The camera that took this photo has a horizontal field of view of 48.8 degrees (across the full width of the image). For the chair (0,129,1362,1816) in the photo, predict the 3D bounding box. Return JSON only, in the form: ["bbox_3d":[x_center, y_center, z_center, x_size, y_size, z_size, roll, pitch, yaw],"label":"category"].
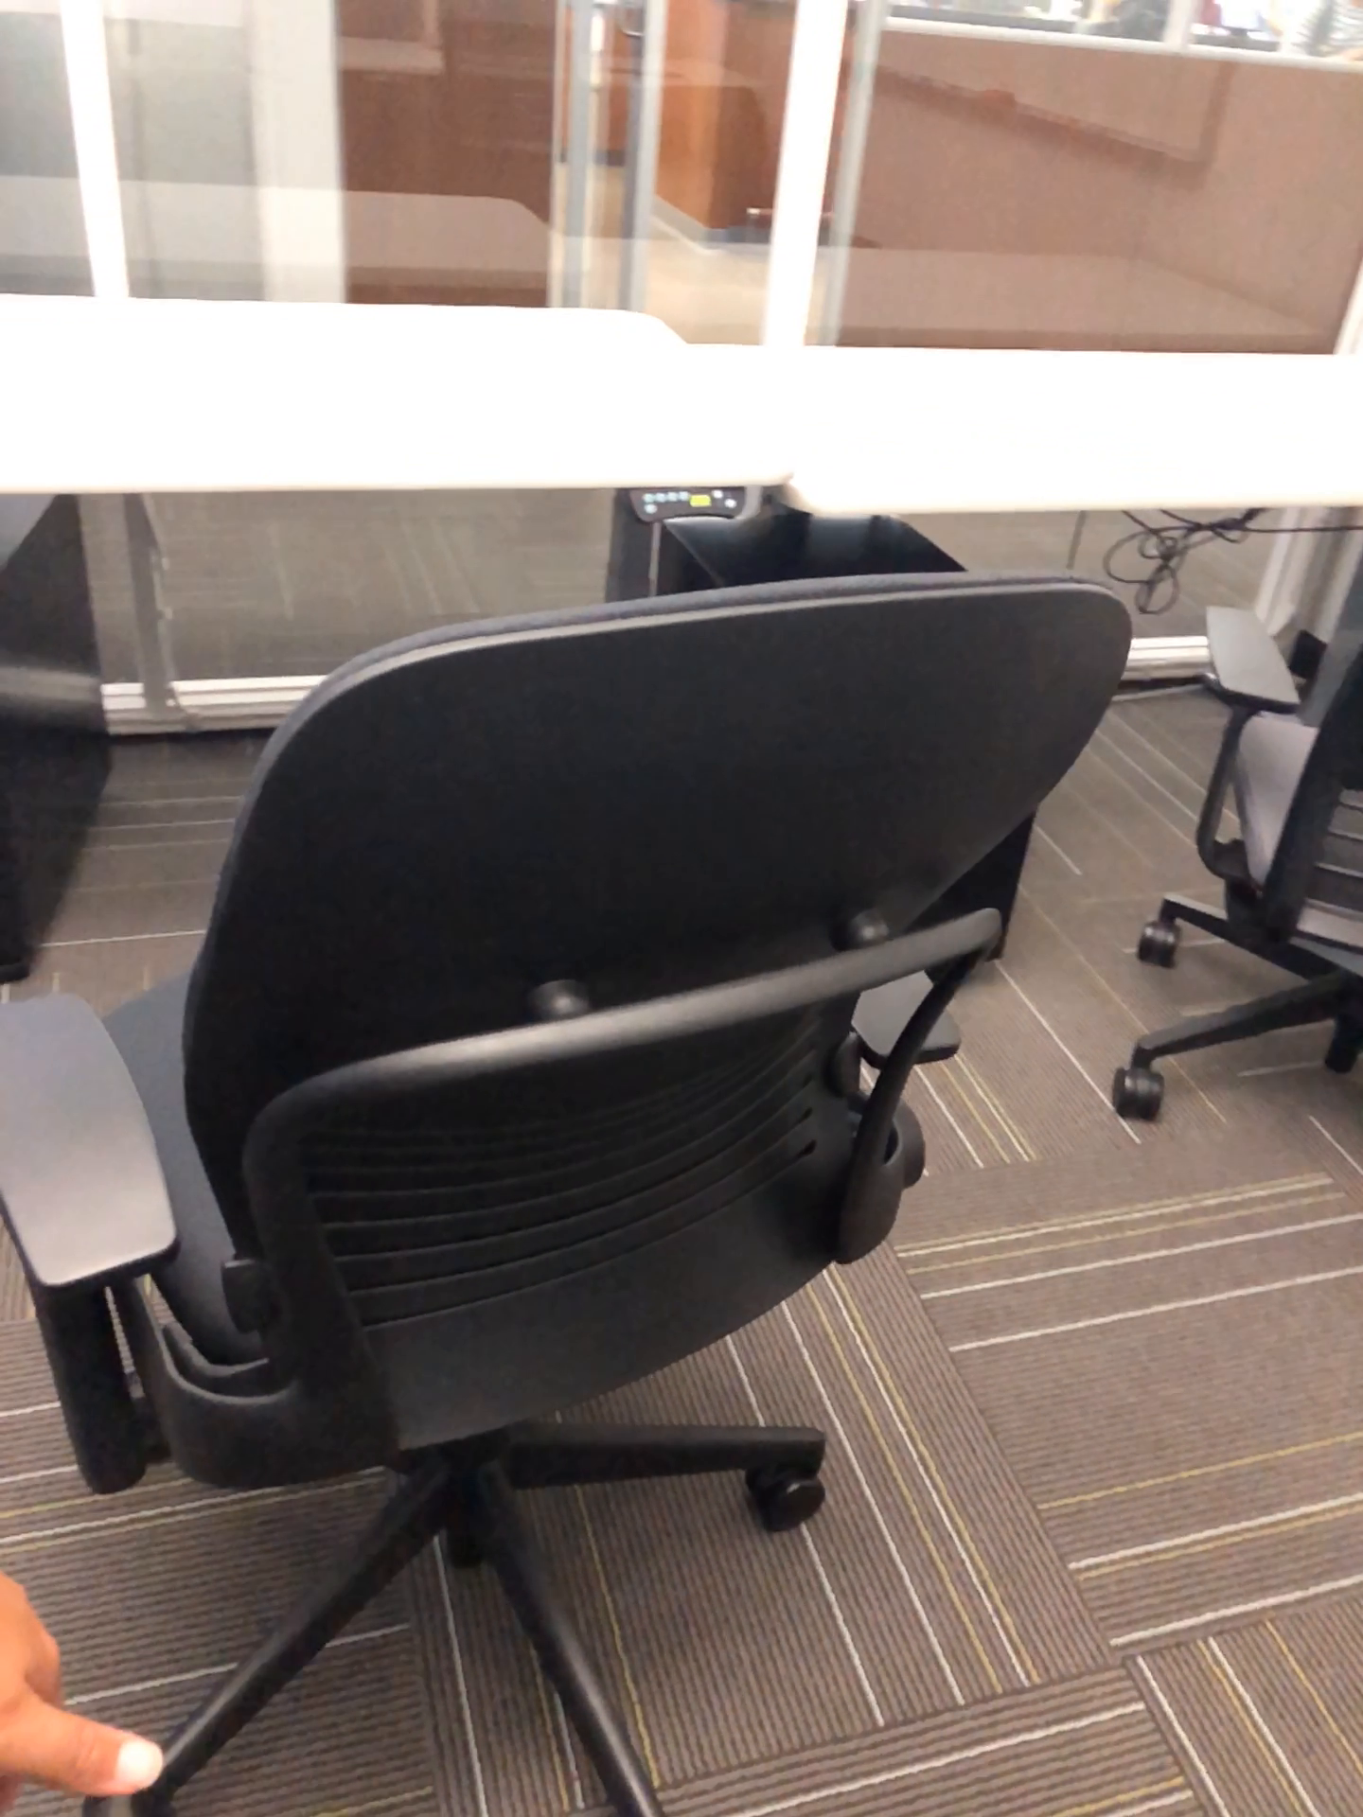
[{"bbox_3d":[-0.163,0.087,1.077,0.731,1.035,0.834,-13,37,-27],"label":"chair"}]
